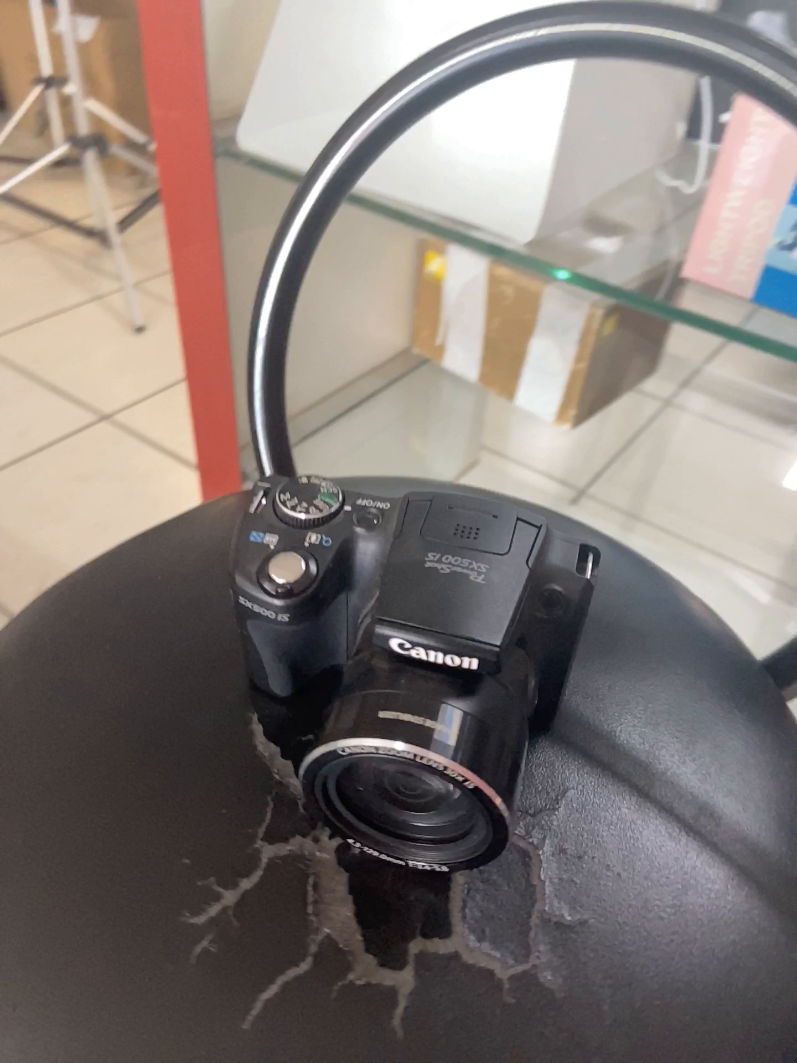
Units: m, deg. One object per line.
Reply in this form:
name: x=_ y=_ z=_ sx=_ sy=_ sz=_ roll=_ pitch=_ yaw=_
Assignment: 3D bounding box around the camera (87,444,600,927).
camera: x=-0.007 y=0.037 z=0.232 sx=0.110 sy=0.070 sz=0.091 roll=10 pitch=40 yaw=8
